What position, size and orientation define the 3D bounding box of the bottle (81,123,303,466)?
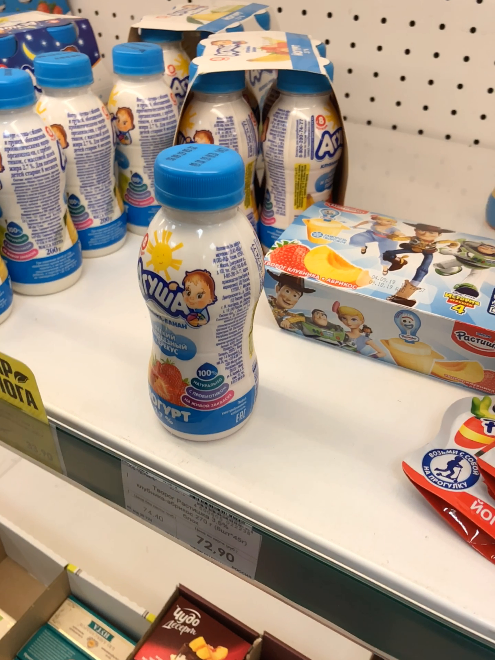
[{"bbox_3d":[-0.021,-0.014,0.249,0.060,0.129,0.060,1,37,-1],"label":"bottle"}]
